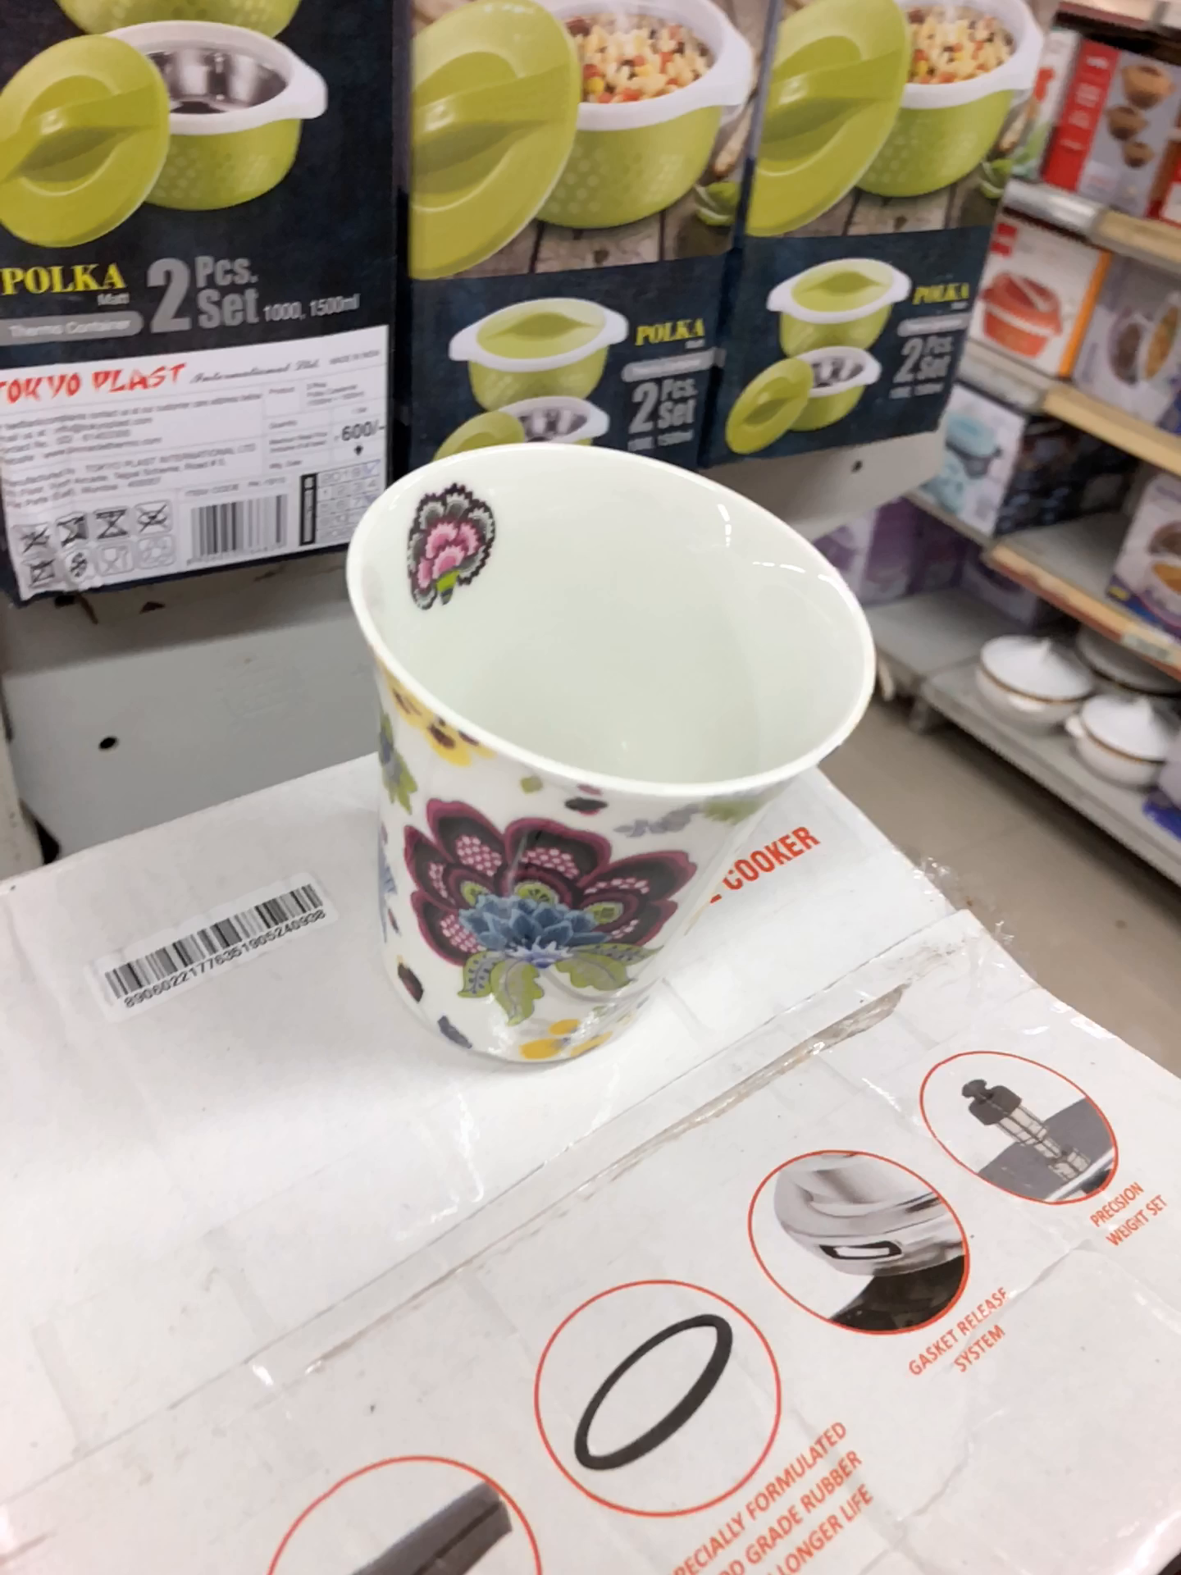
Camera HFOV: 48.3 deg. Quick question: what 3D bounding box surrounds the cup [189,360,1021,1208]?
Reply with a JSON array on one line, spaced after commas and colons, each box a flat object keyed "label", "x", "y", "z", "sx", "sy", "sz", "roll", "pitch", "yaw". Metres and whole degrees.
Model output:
[{"label": "cup", "x": 0.001, "y": -0.008, "z": 0.248, "sx": 0.080, "sy": 0.089, "sz": 0.121, "roll": 39, "pitch": 46, "yaw": 19}]
